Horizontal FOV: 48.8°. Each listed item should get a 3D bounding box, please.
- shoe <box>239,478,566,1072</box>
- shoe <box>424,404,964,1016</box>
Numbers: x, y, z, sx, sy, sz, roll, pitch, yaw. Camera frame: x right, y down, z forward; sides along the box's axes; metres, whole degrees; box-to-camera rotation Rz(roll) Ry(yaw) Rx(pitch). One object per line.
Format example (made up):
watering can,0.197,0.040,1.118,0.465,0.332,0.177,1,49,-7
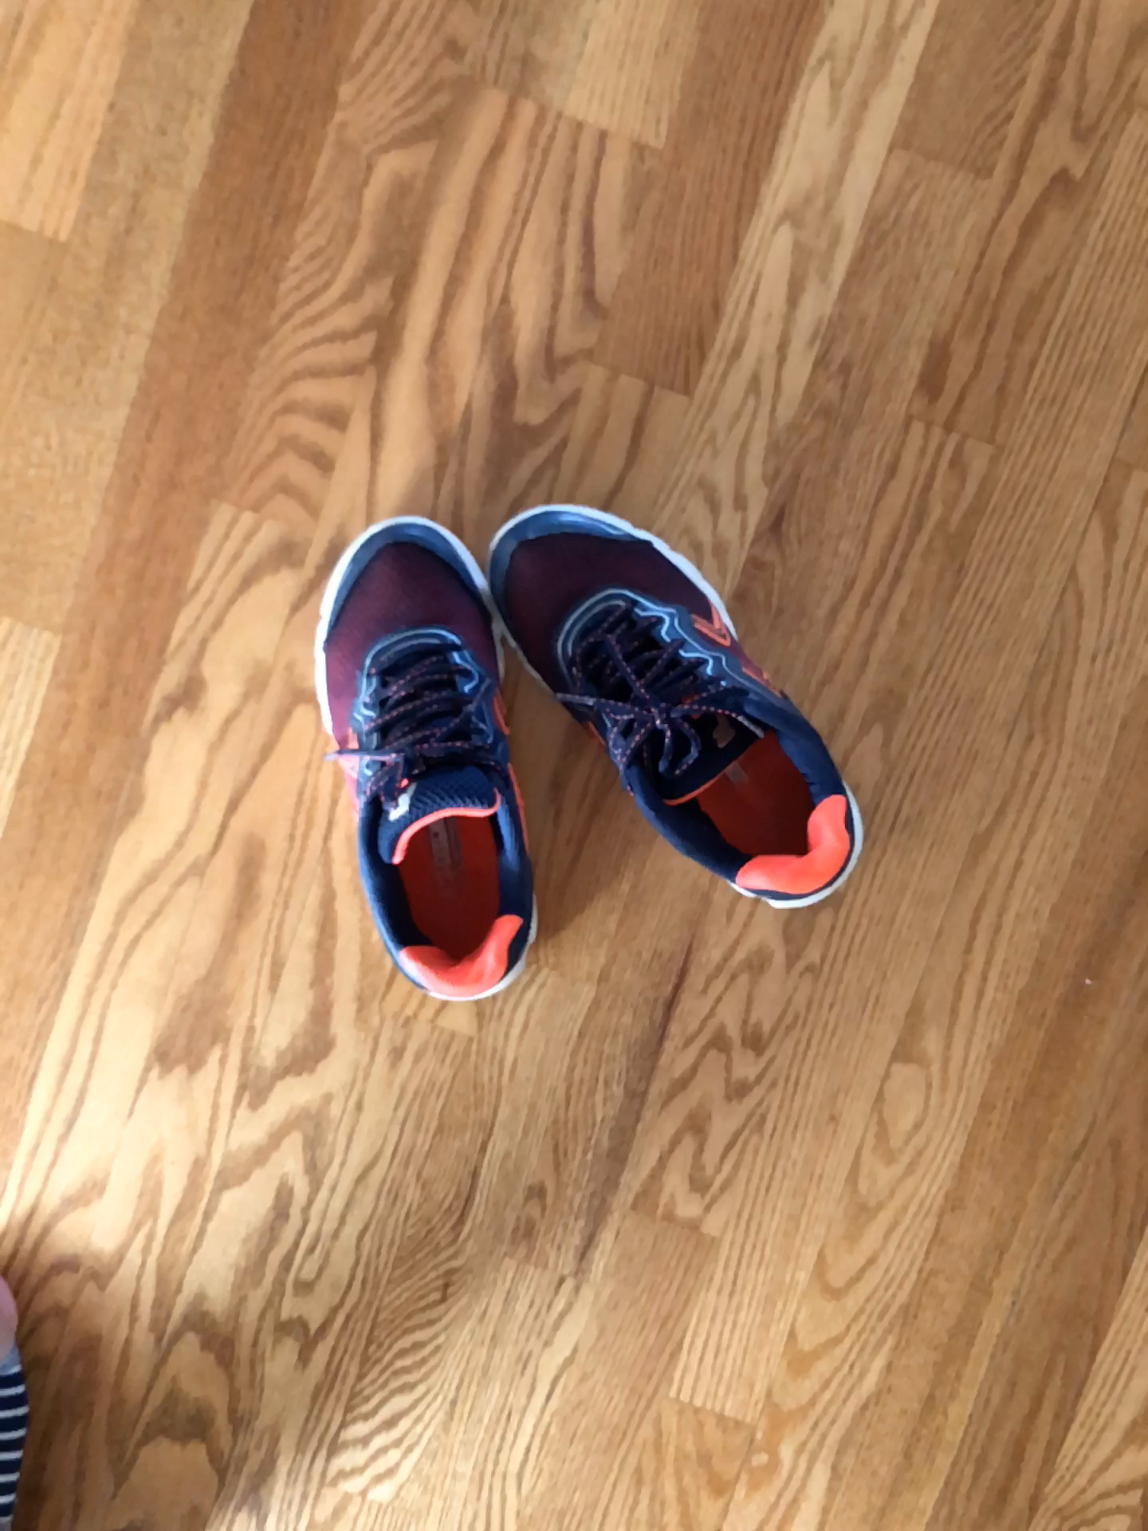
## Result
shoe,-0.081,0.003,0.658,0.108,0.110,0.270,-10,94,0
shoe,0.058,-0.028,0.657,0.116,0.110,0.277,-37,93,2
